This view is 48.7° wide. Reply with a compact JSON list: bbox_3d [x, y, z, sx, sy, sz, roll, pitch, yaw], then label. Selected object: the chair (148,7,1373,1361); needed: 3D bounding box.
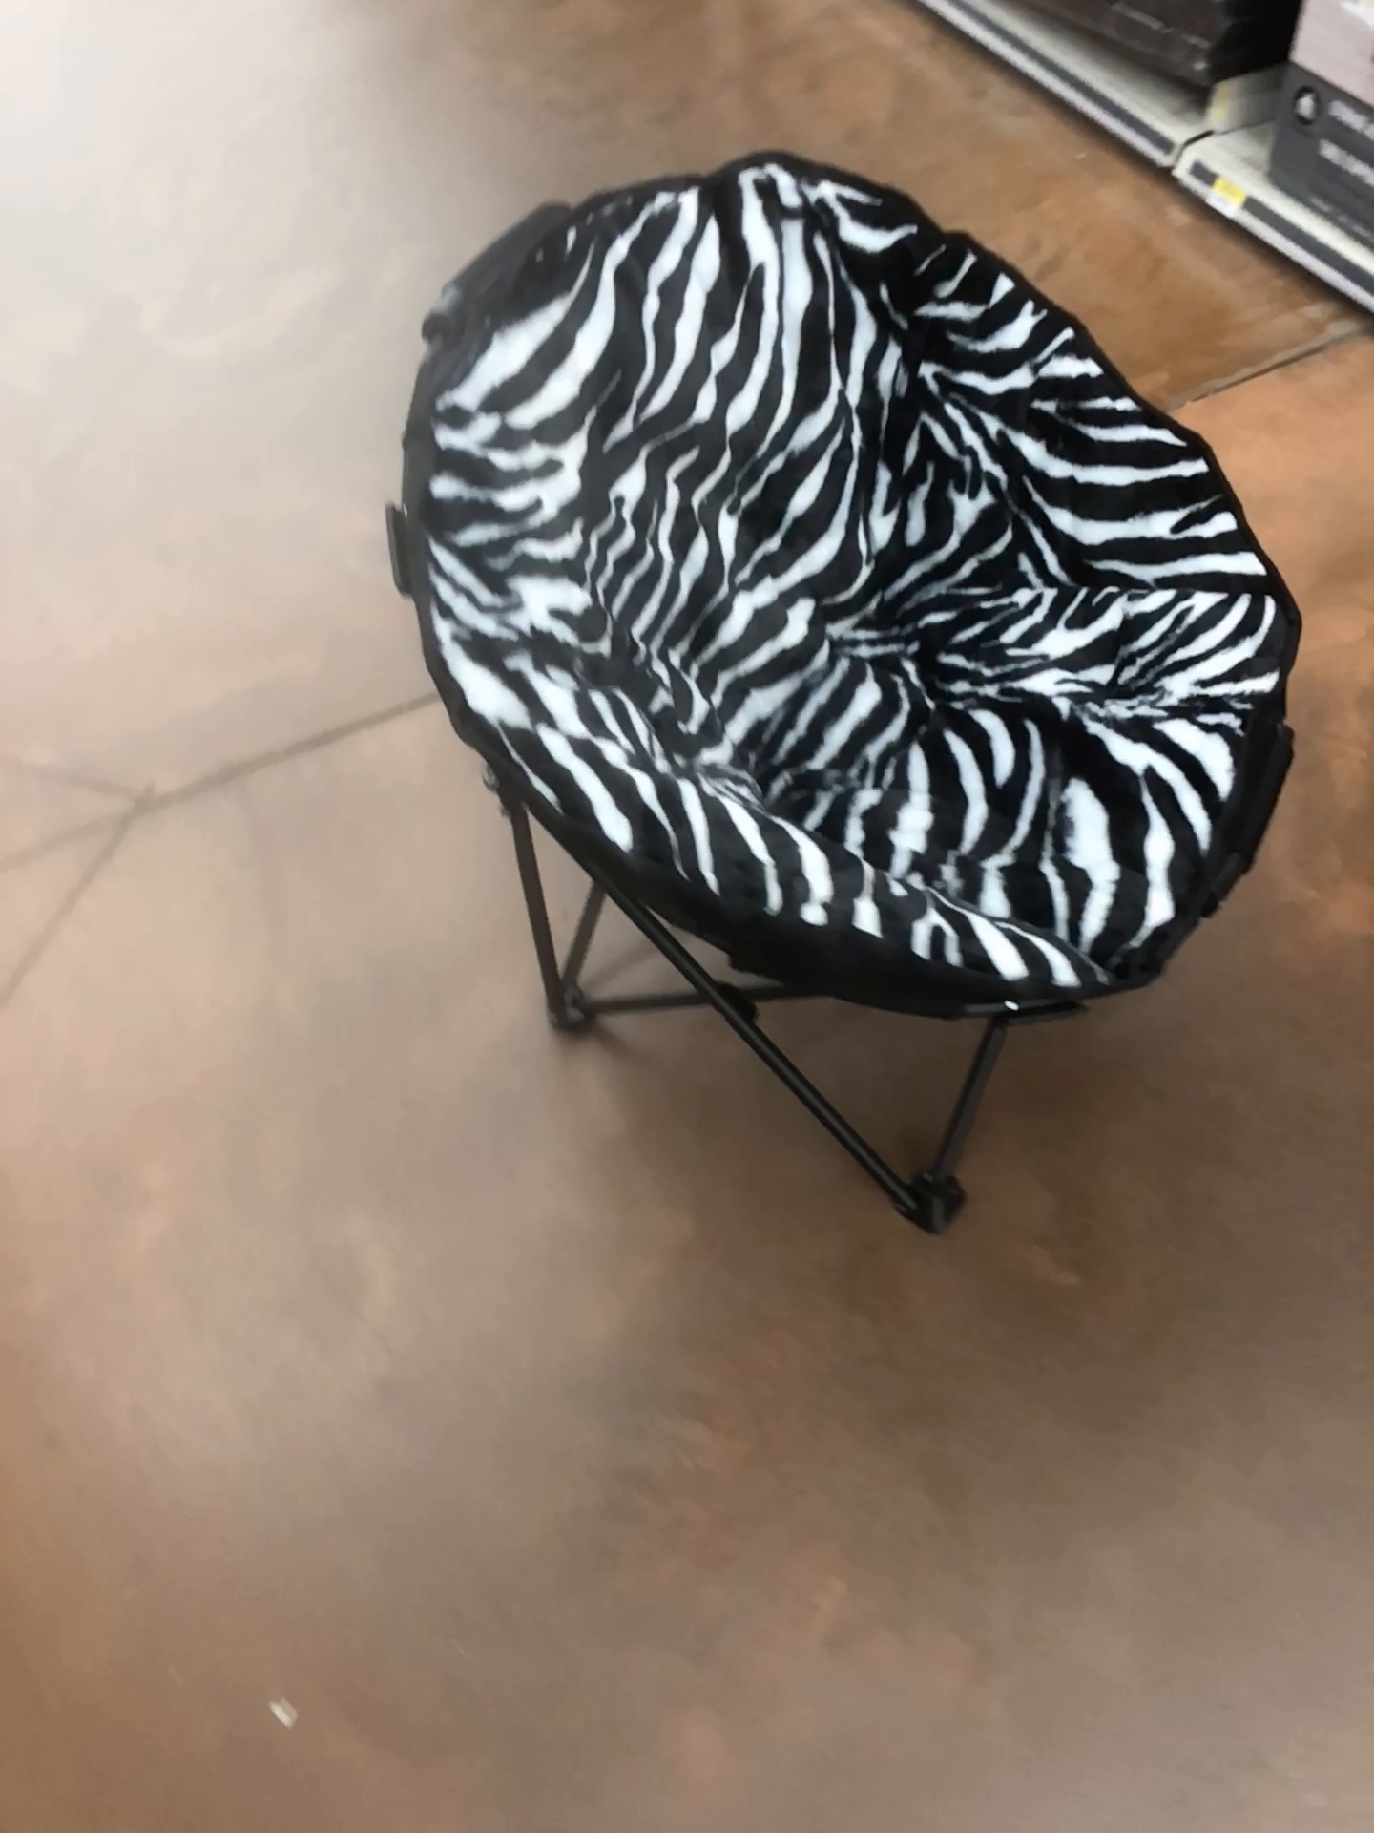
[{"bbox_3d":[0.132,-0.181,1.128,0.601,0.598,0.611,22,58,20],"label":"chair"}]
